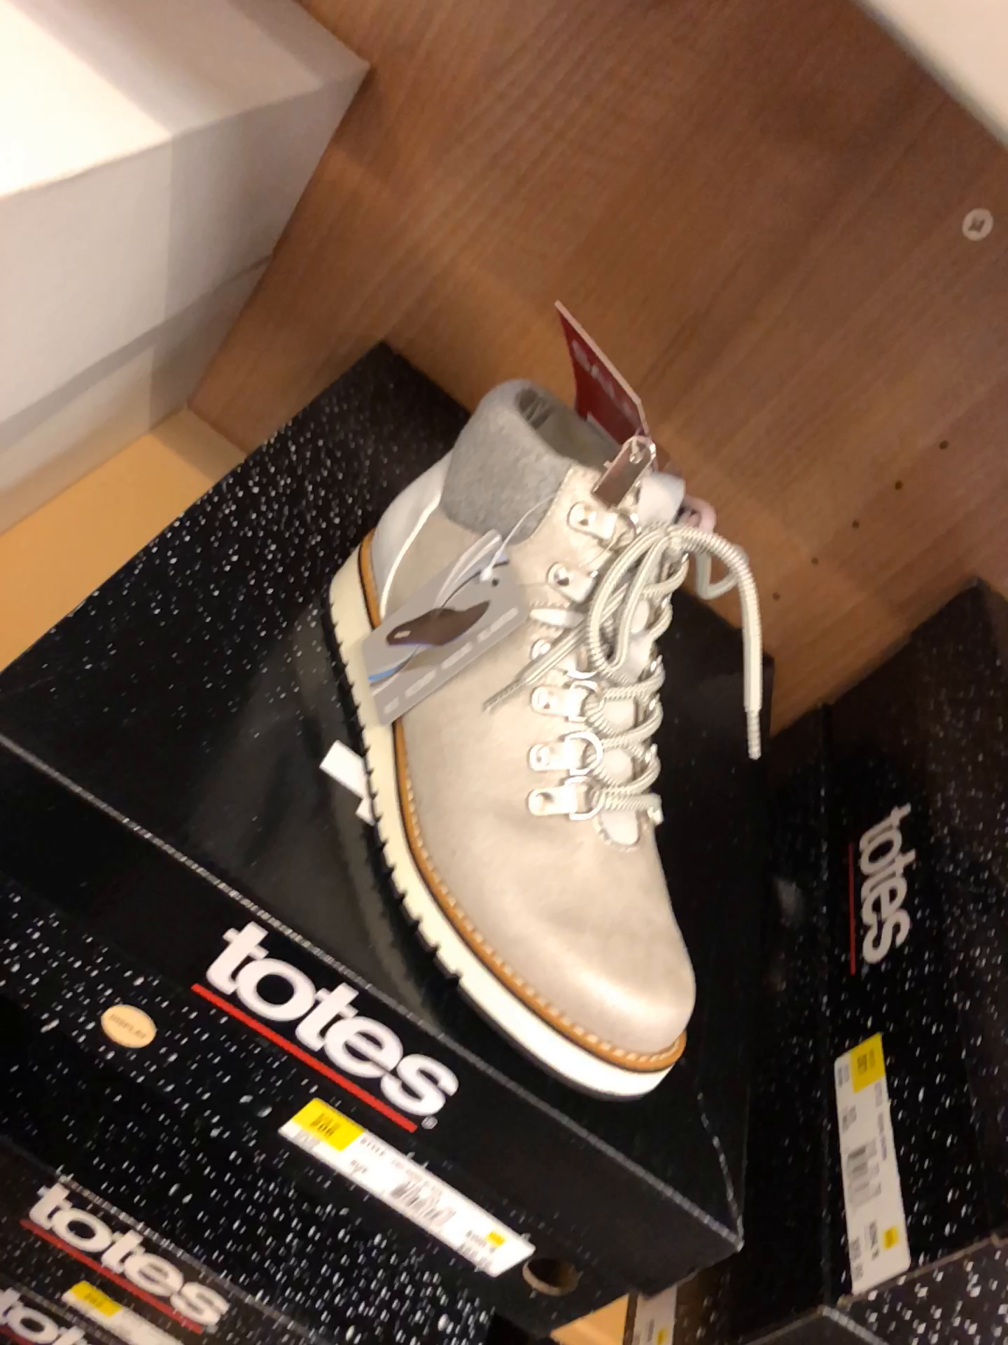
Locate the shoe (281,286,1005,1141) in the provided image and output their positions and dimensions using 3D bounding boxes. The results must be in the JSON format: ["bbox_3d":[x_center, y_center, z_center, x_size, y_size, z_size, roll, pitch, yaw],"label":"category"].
[{"bbox_3d":[0.027,0.010,0.377,0.100,0.134,0.228,9,46,-41],"label":"shoe"}]
